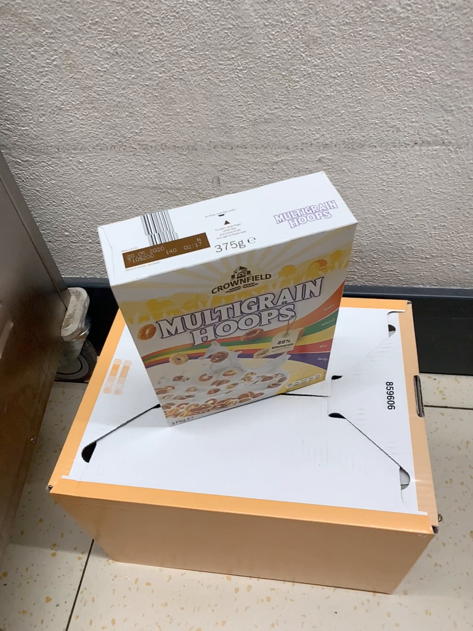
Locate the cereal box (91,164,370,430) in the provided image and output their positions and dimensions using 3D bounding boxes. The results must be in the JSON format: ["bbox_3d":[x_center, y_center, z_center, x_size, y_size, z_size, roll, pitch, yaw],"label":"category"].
[{"bbox_3d":[-0.001,0.000,0.467,0.200,0.248,0.071,-16,55,-8],"label":"cereal box"}]
